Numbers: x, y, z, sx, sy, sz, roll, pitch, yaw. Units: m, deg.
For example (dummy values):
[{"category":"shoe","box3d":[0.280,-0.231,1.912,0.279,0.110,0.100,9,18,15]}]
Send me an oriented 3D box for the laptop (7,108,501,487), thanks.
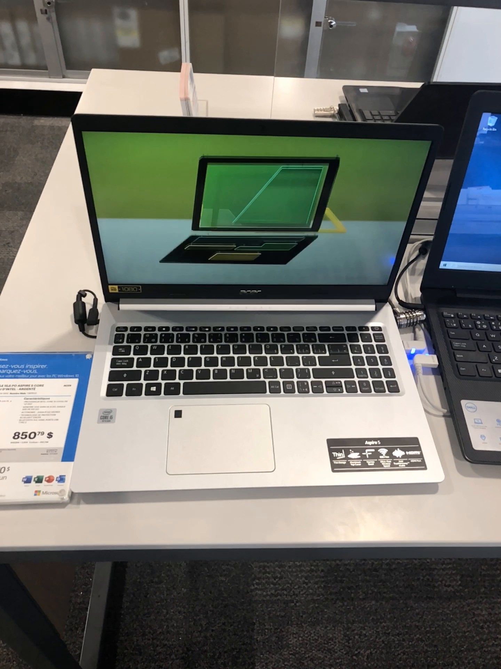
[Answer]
[{"category":"laptop","box3d":[0.007,-0.037,0.530,0.349,0.229,0.268,0,48,-3]}]
